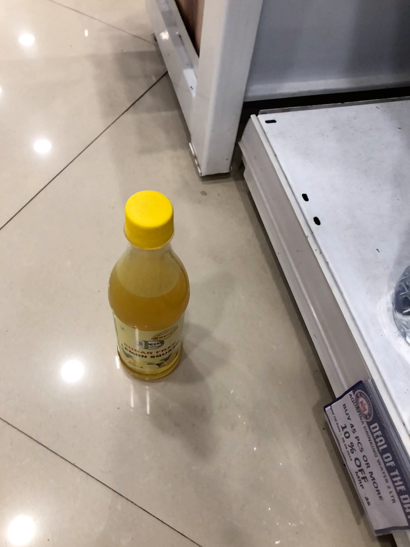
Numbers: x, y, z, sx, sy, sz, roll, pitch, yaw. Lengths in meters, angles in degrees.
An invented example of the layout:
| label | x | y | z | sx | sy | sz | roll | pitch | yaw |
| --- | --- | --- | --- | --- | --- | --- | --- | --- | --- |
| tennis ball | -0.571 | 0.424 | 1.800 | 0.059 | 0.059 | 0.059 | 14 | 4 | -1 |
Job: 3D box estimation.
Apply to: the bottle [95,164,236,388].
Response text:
| label | x | y | z | sx | sy | sz | roll | pitch | yaw |
| --- | --- | --- | --- | --- | --- | --- | --- | --- | --- |
| bottle | -0.036 | 0.020 | 0.372 | 0.080 | 0.229 | 0.070 | -1 | 58 | -8 |
